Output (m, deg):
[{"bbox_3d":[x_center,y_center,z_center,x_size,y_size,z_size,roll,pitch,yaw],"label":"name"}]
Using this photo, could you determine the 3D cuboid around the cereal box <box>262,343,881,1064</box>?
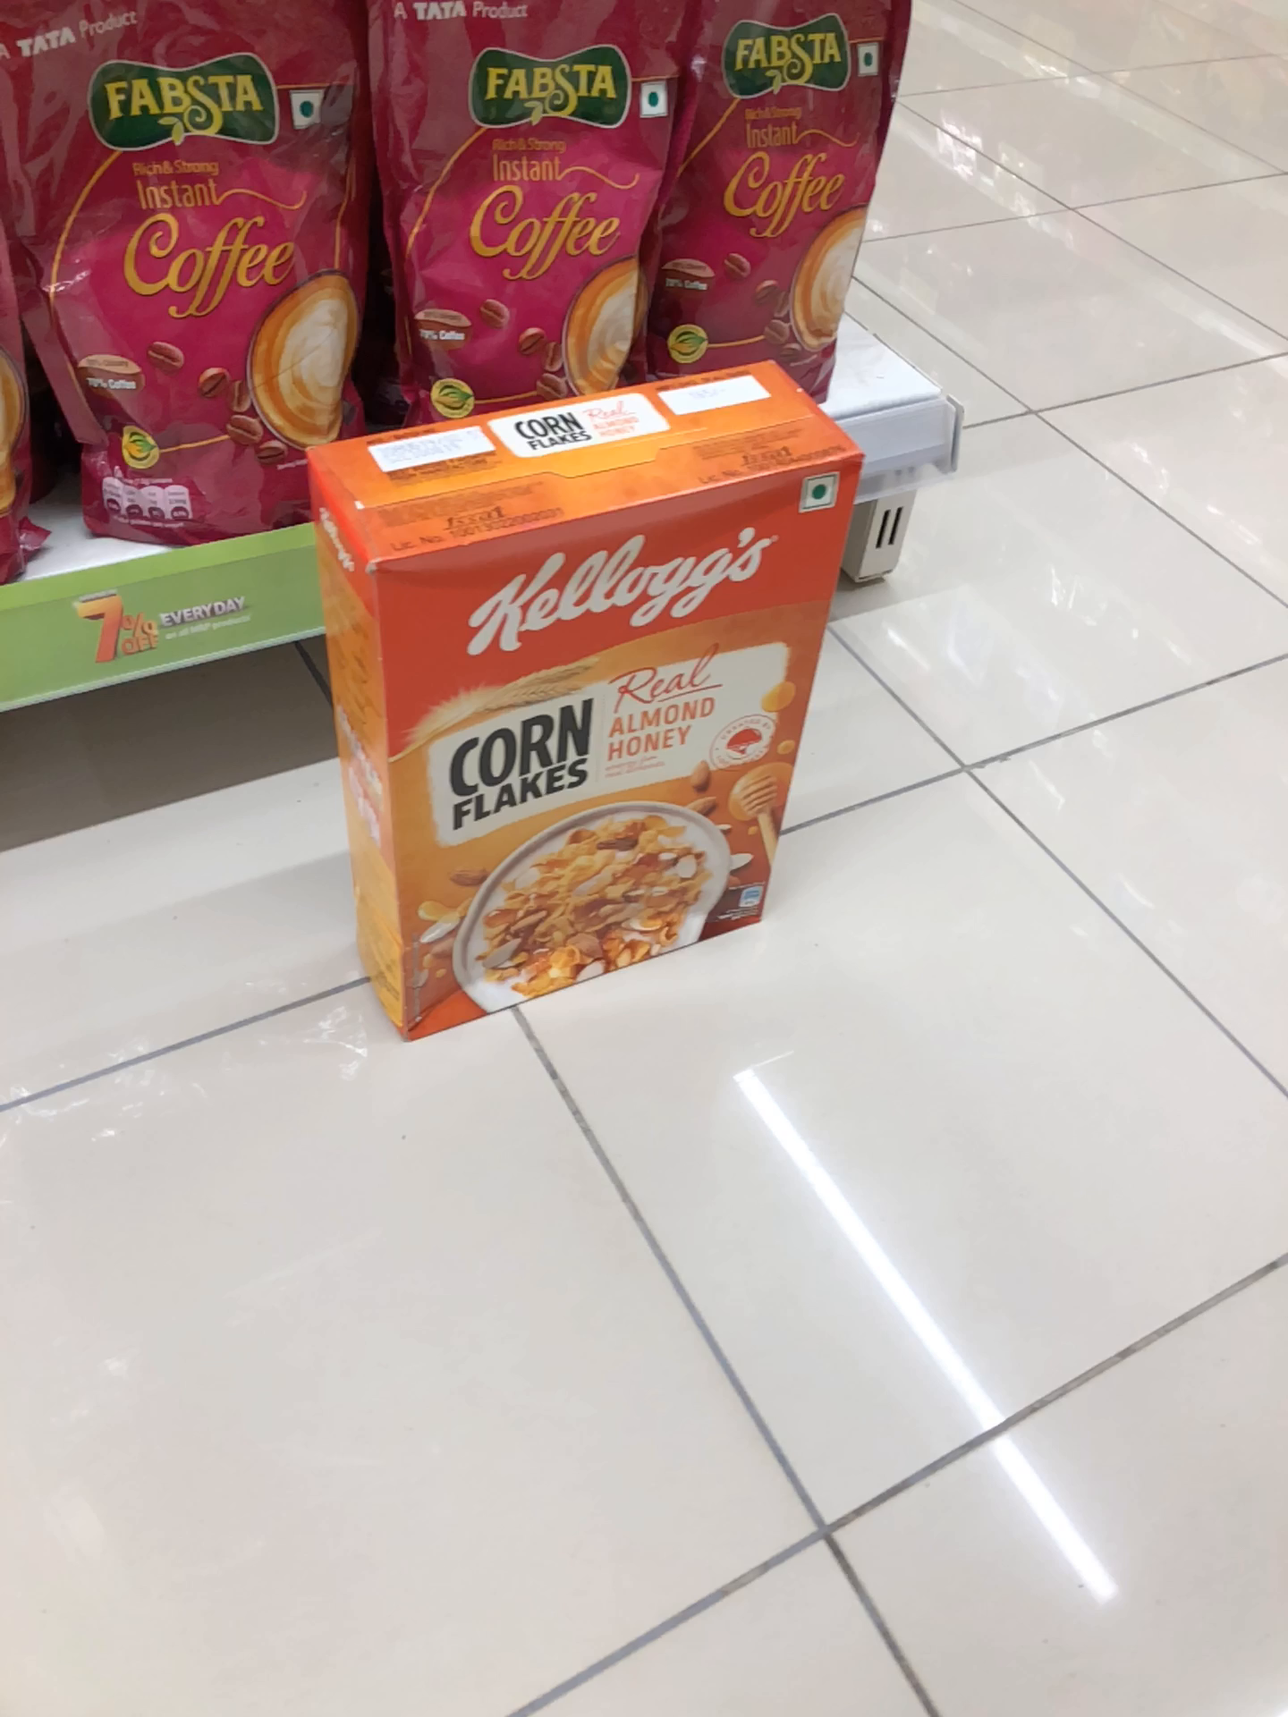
[{"bbox_3d":[-0.032,-0.055,0.589,0.201,0.268,0.080,-16,50,-20],"label":"cereal box"}]
